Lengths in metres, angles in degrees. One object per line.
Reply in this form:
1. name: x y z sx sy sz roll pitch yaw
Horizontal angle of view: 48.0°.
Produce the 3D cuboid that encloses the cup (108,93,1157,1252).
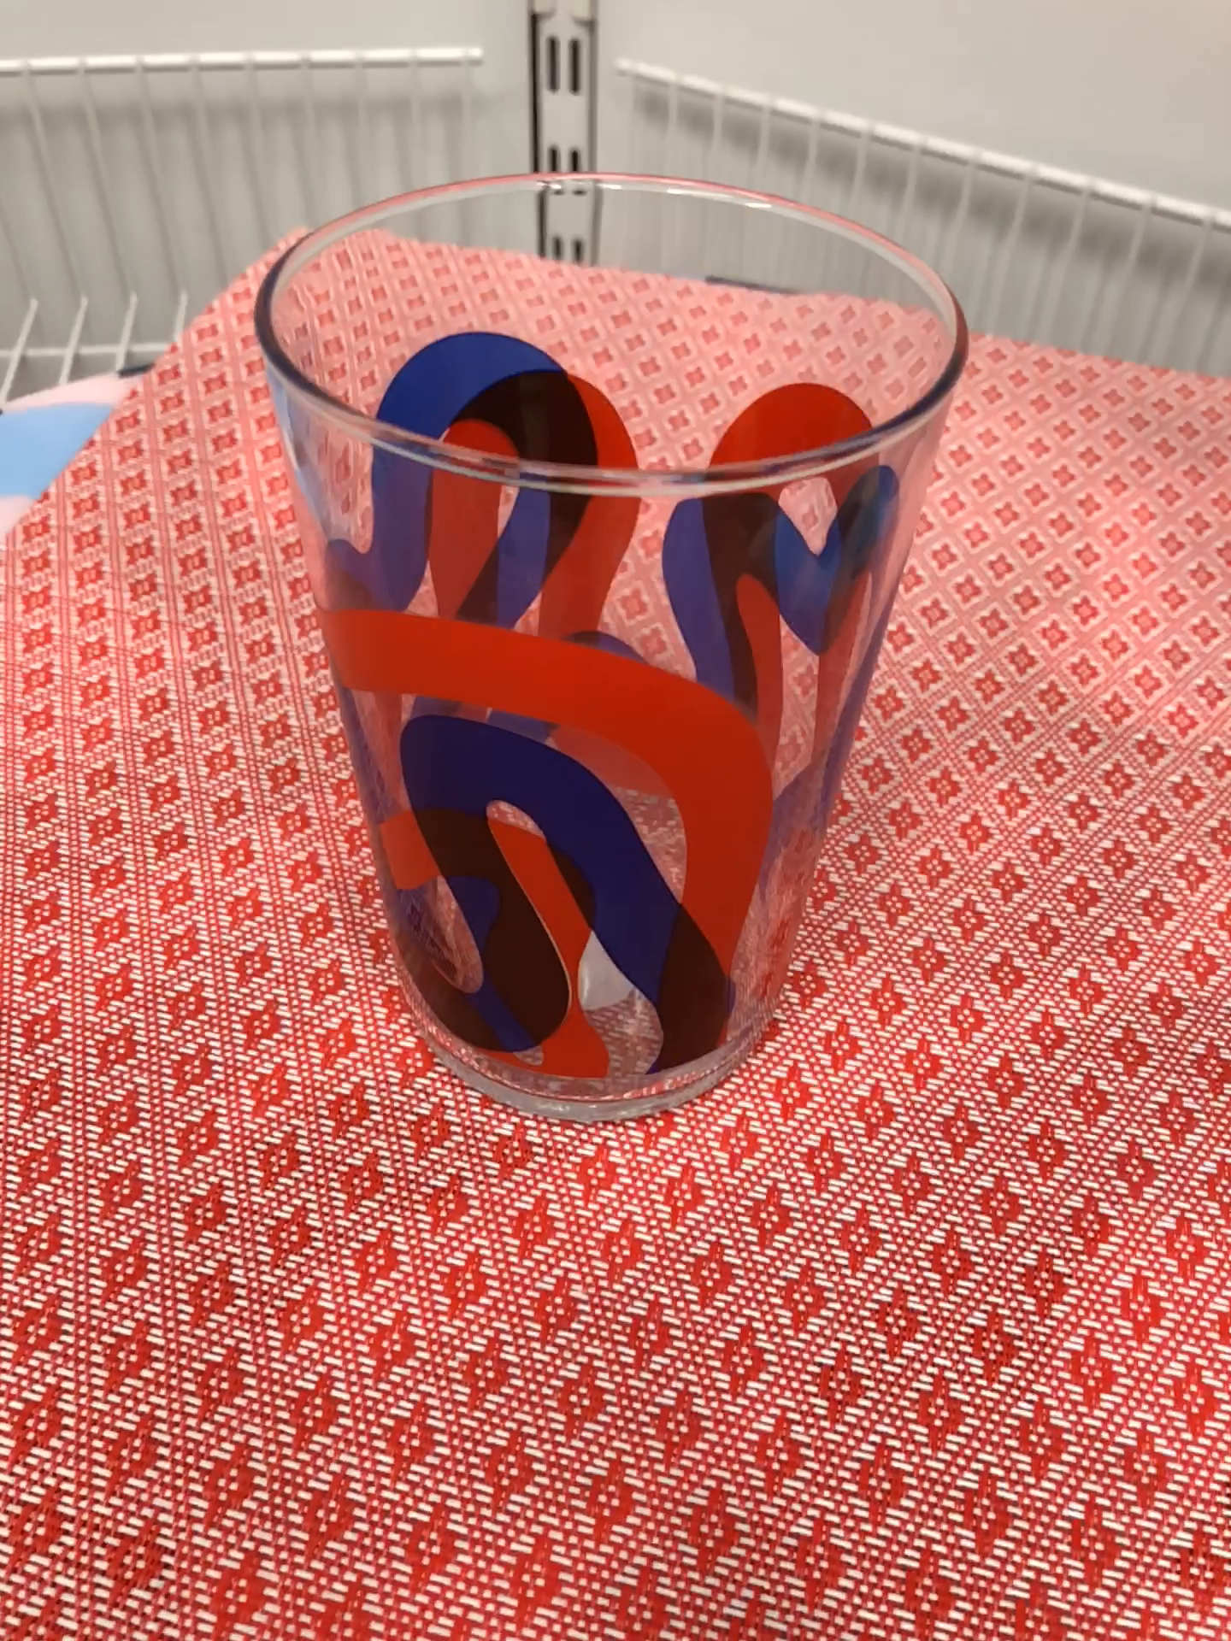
1. cup: 0.004 -0.024 0.206 0.090 0.120 0.090 1 44 -1
